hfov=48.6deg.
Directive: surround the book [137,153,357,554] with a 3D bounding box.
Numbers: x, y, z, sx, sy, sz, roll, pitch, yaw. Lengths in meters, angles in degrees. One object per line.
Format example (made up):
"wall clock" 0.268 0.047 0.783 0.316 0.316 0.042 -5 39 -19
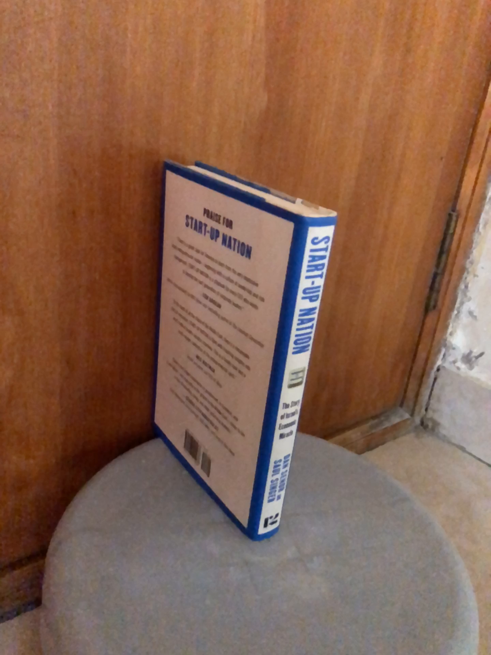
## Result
"book" -0.021 0.005 0.401 0.040 0.229 0.200 -11 28 -32
